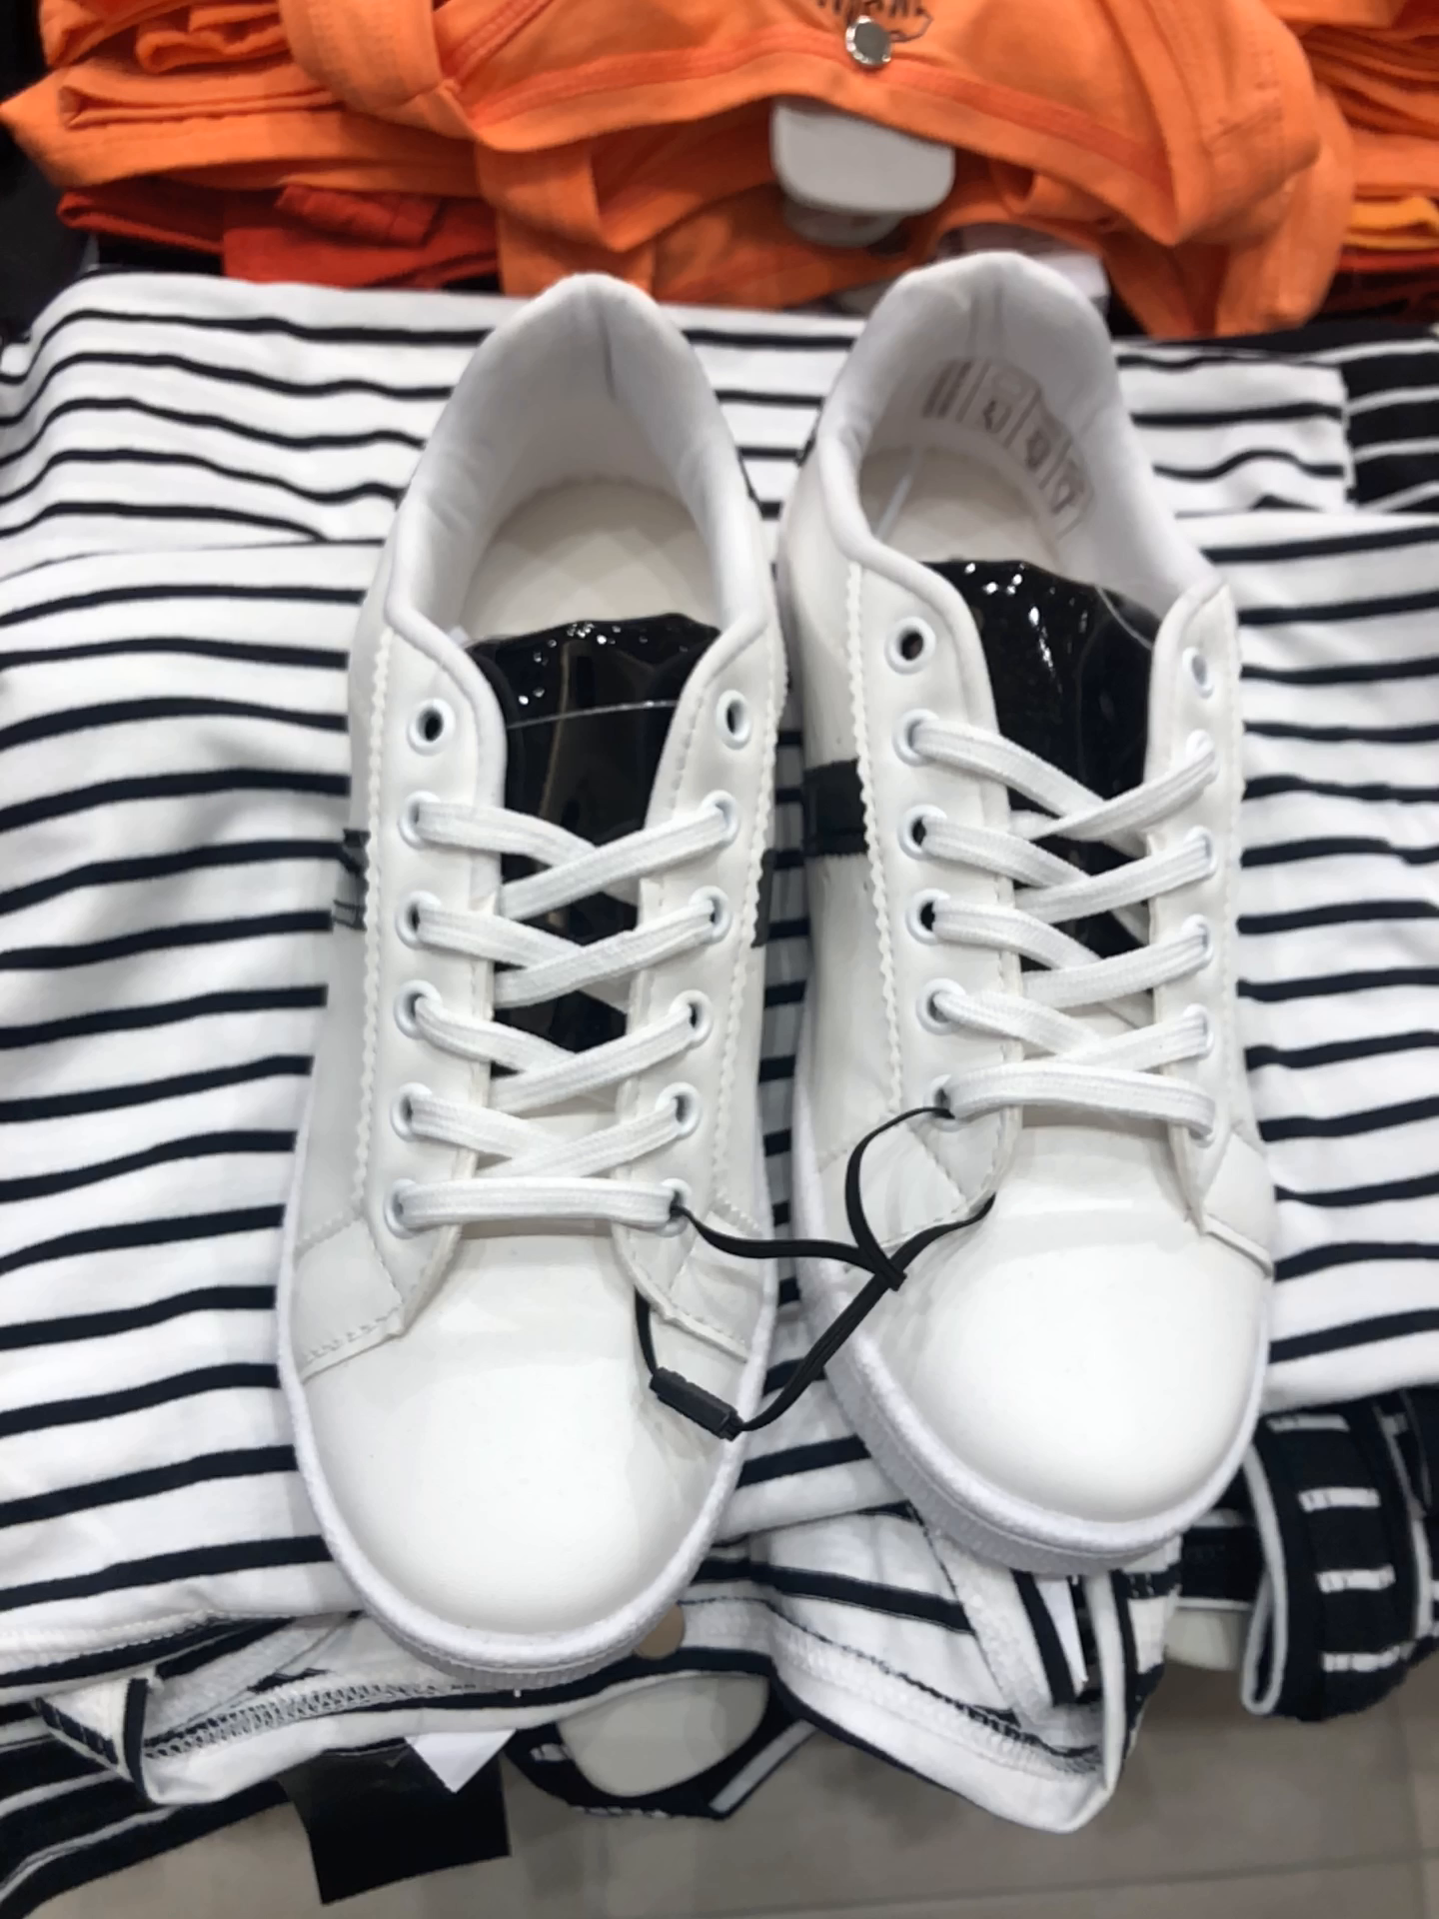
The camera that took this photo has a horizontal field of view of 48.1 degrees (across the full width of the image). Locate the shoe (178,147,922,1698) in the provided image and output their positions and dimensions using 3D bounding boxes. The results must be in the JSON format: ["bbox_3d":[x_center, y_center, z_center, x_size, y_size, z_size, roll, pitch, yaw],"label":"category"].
[{"bbox_3d":[-0.025,-0.007,0.247,0.080,0.080,0.210,2,70,-9],"label":"shoe"}]

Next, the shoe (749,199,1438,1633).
[{"bbox_3d":[0.063,-0.008,0.265,0.090,0.080,0.210,0,70,-10],"label":"shoe"}]
